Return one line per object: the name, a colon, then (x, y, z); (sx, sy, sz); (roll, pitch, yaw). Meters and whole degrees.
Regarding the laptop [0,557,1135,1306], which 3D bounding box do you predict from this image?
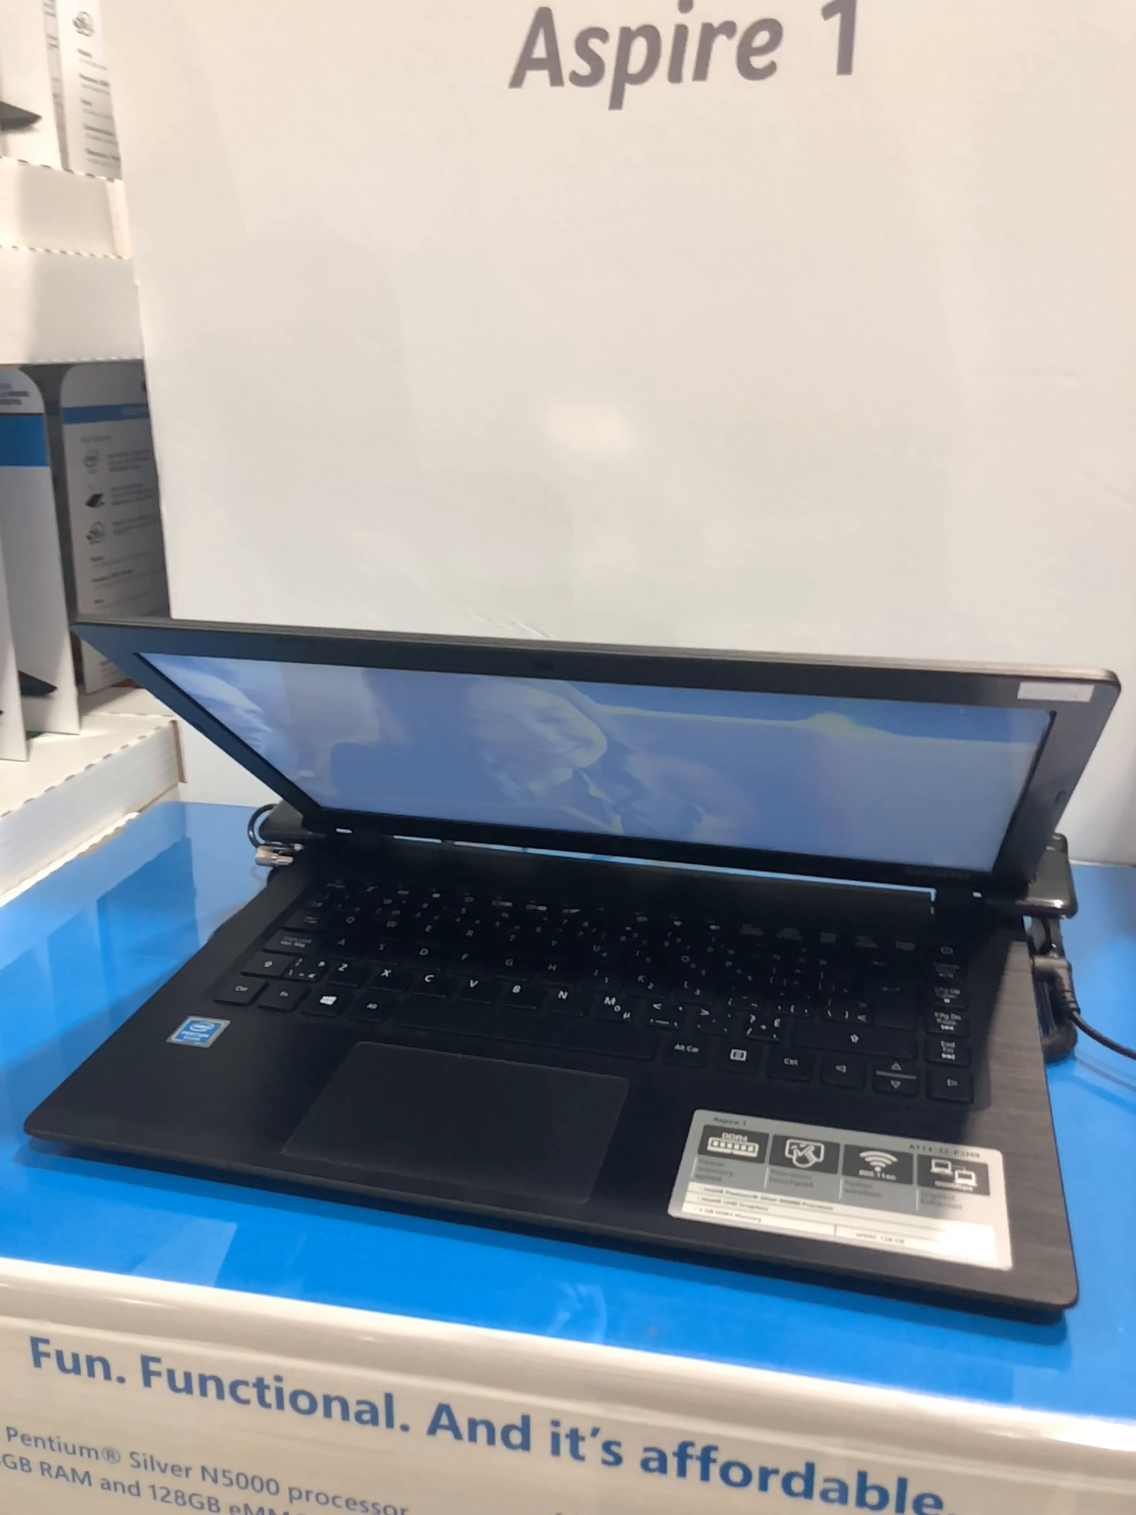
laptop: (0.006, 0.029, 0.458); (0.333, 0.145, 0.206); (4, 21, 15)
